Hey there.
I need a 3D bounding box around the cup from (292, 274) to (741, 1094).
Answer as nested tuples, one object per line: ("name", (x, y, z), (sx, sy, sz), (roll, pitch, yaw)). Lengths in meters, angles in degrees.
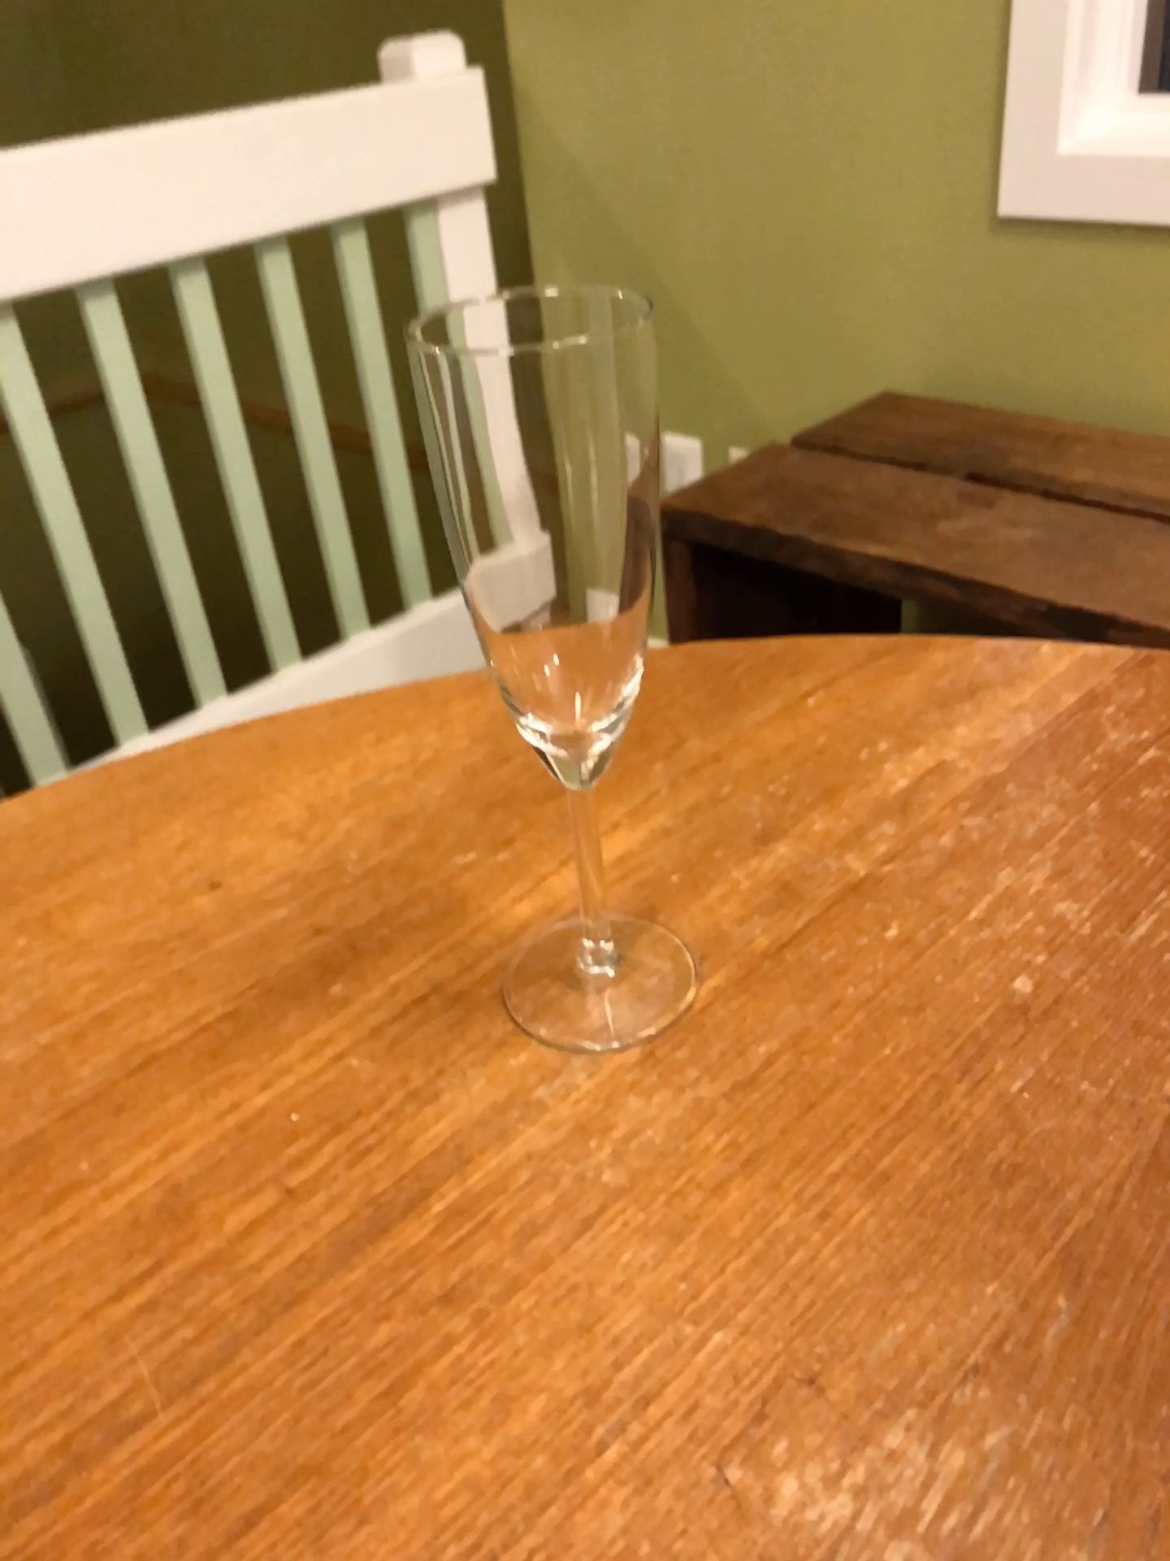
("cup", (-0.010, -0.024, 0.373), (0.077, 0.211, 0.070), (-31, 39, -33))
